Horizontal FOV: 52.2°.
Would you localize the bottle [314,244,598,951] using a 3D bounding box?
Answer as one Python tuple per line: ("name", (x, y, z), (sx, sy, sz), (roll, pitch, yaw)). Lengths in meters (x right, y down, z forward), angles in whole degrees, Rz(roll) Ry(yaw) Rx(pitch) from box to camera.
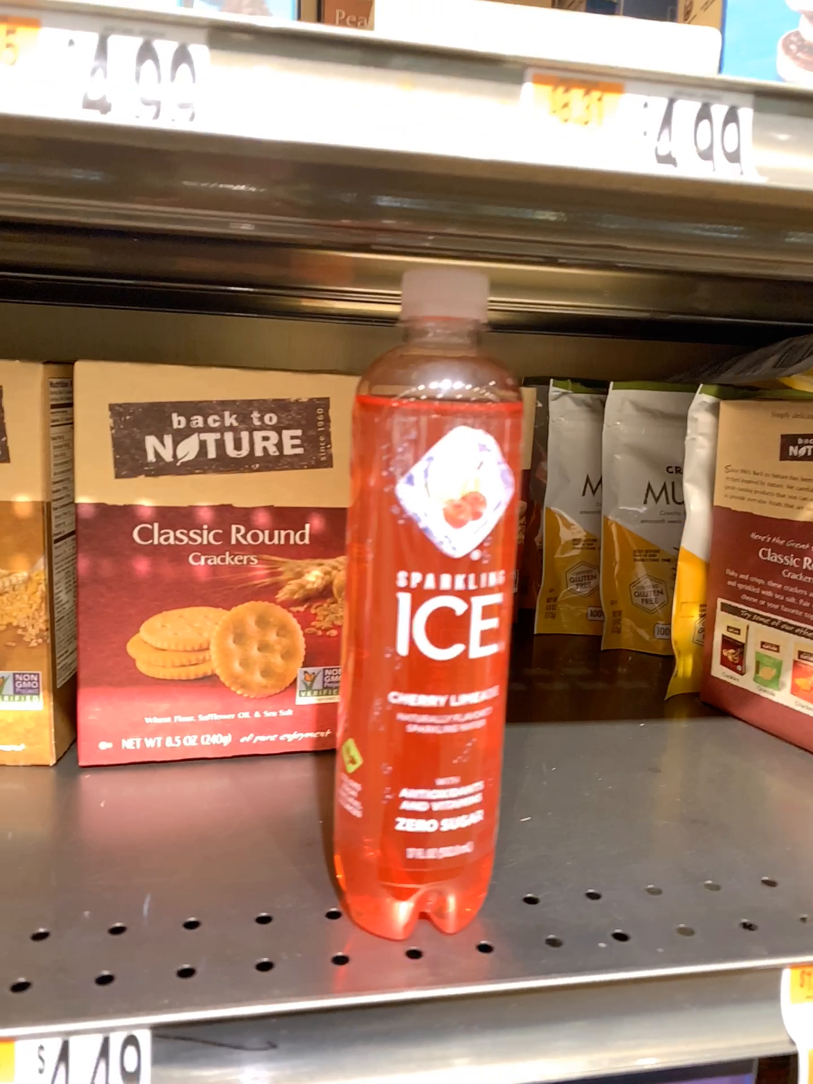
("bottle", (0.009, 0.019, 0.273), (0.065, 0.211, 0.060), (3, 12, -1))
